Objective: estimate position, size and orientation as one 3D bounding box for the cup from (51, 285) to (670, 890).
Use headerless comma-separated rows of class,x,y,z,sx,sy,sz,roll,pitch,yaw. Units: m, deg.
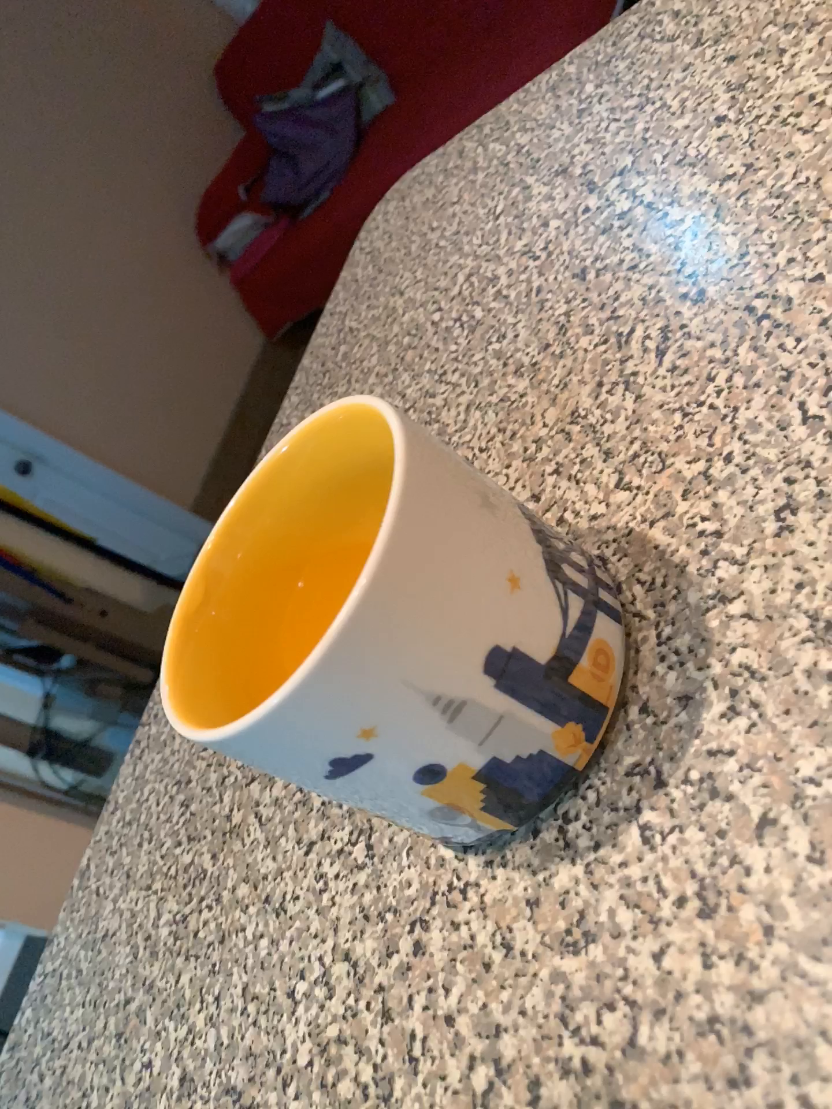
cup,-0.018,0.022,0.246,0.140,0.087,0.103,-31,40,39
